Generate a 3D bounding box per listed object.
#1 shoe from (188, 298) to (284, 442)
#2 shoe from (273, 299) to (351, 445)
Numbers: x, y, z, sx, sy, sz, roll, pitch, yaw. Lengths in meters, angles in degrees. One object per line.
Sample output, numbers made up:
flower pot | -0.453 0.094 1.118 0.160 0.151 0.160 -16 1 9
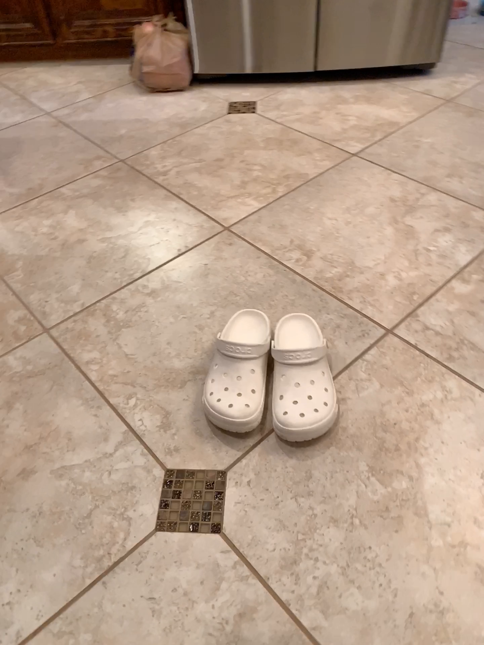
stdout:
shoe | -0.001 0.076 0.894 0.129 0.073 0.262 4 47 9
shoe | 0.121 0.077 0.868 0.119 0.073 0.262 2 47 6
